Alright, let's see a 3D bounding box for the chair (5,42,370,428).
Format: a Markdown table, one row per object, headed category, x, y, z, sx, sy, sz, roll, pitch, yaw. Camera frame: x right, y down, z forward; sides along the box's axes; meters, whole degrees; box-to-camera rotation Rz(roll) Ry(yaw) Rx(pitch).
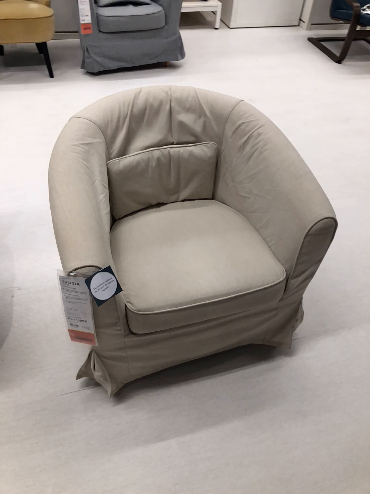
| category | x | y | z | sx | sy | sz | roll | pitch | yaw |
| --- | --- | --- | --- | --- | --- | --- | --- | --- | --- |
| chair | 0.008 | -0.068 | 1.278 | 0.861 | 0.805 | 0.704 | -12 | 48 | -16 |
